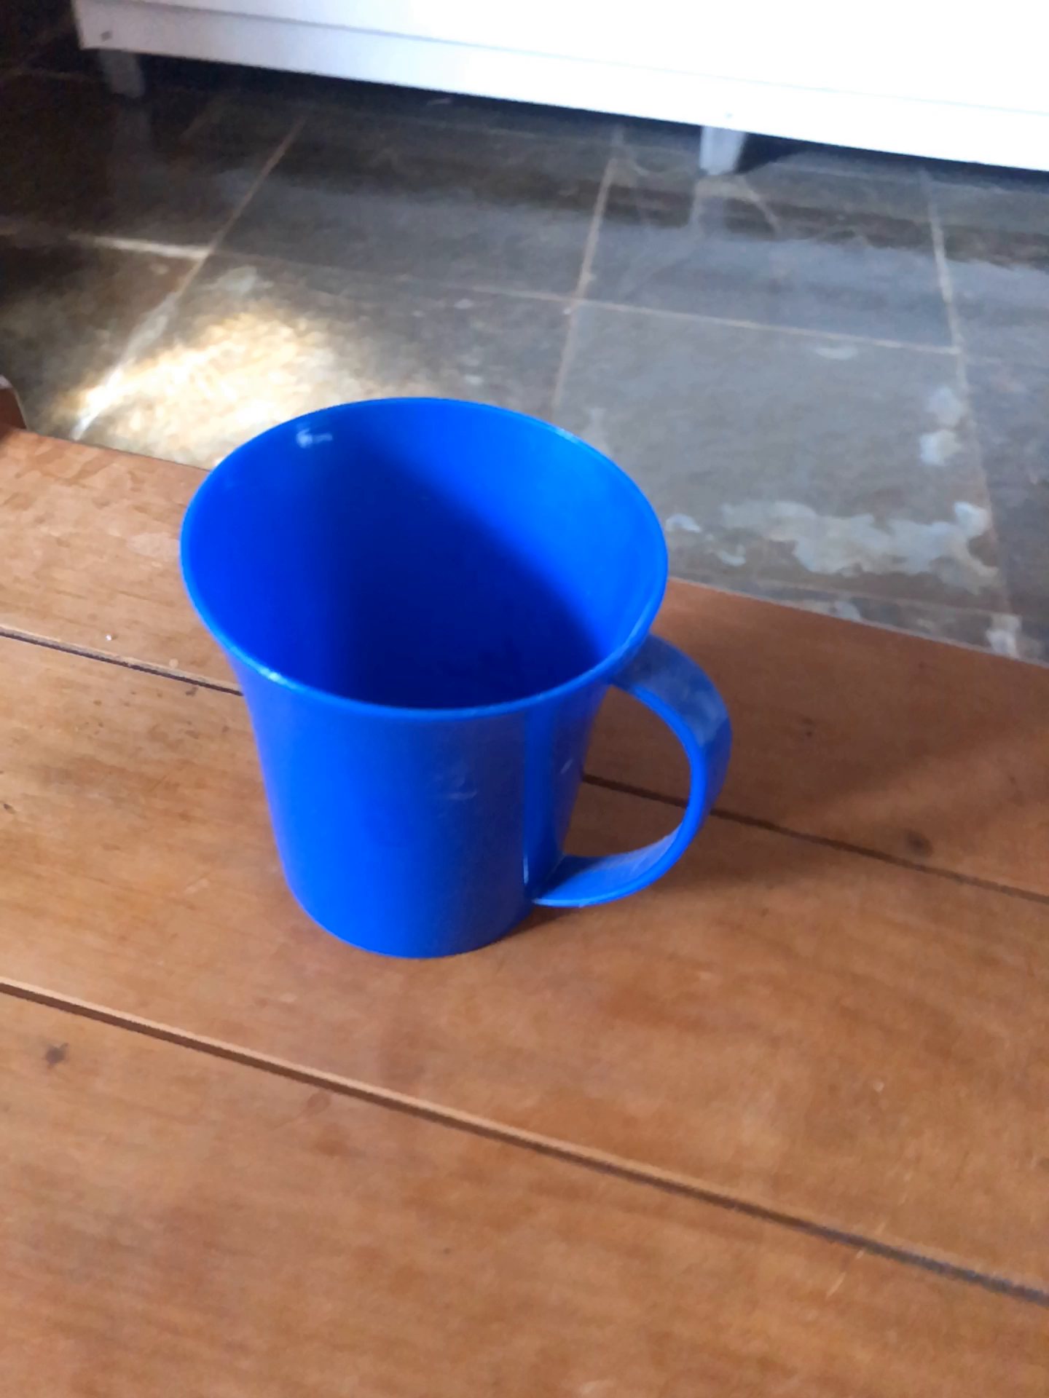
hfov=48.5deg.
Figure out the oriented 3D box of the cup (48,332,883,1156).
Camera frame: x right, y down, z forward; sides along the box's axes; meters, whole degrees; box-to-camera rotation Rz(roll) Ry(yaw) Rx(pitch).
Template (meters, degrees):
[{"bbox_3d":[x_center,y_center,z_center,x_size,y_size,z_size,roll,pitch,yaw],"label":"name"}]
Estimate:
[{"bbox_3d":[-0.010,0.006,0.253,0.120,0.099,0.101,26,51,18],"label":"cup"}]
